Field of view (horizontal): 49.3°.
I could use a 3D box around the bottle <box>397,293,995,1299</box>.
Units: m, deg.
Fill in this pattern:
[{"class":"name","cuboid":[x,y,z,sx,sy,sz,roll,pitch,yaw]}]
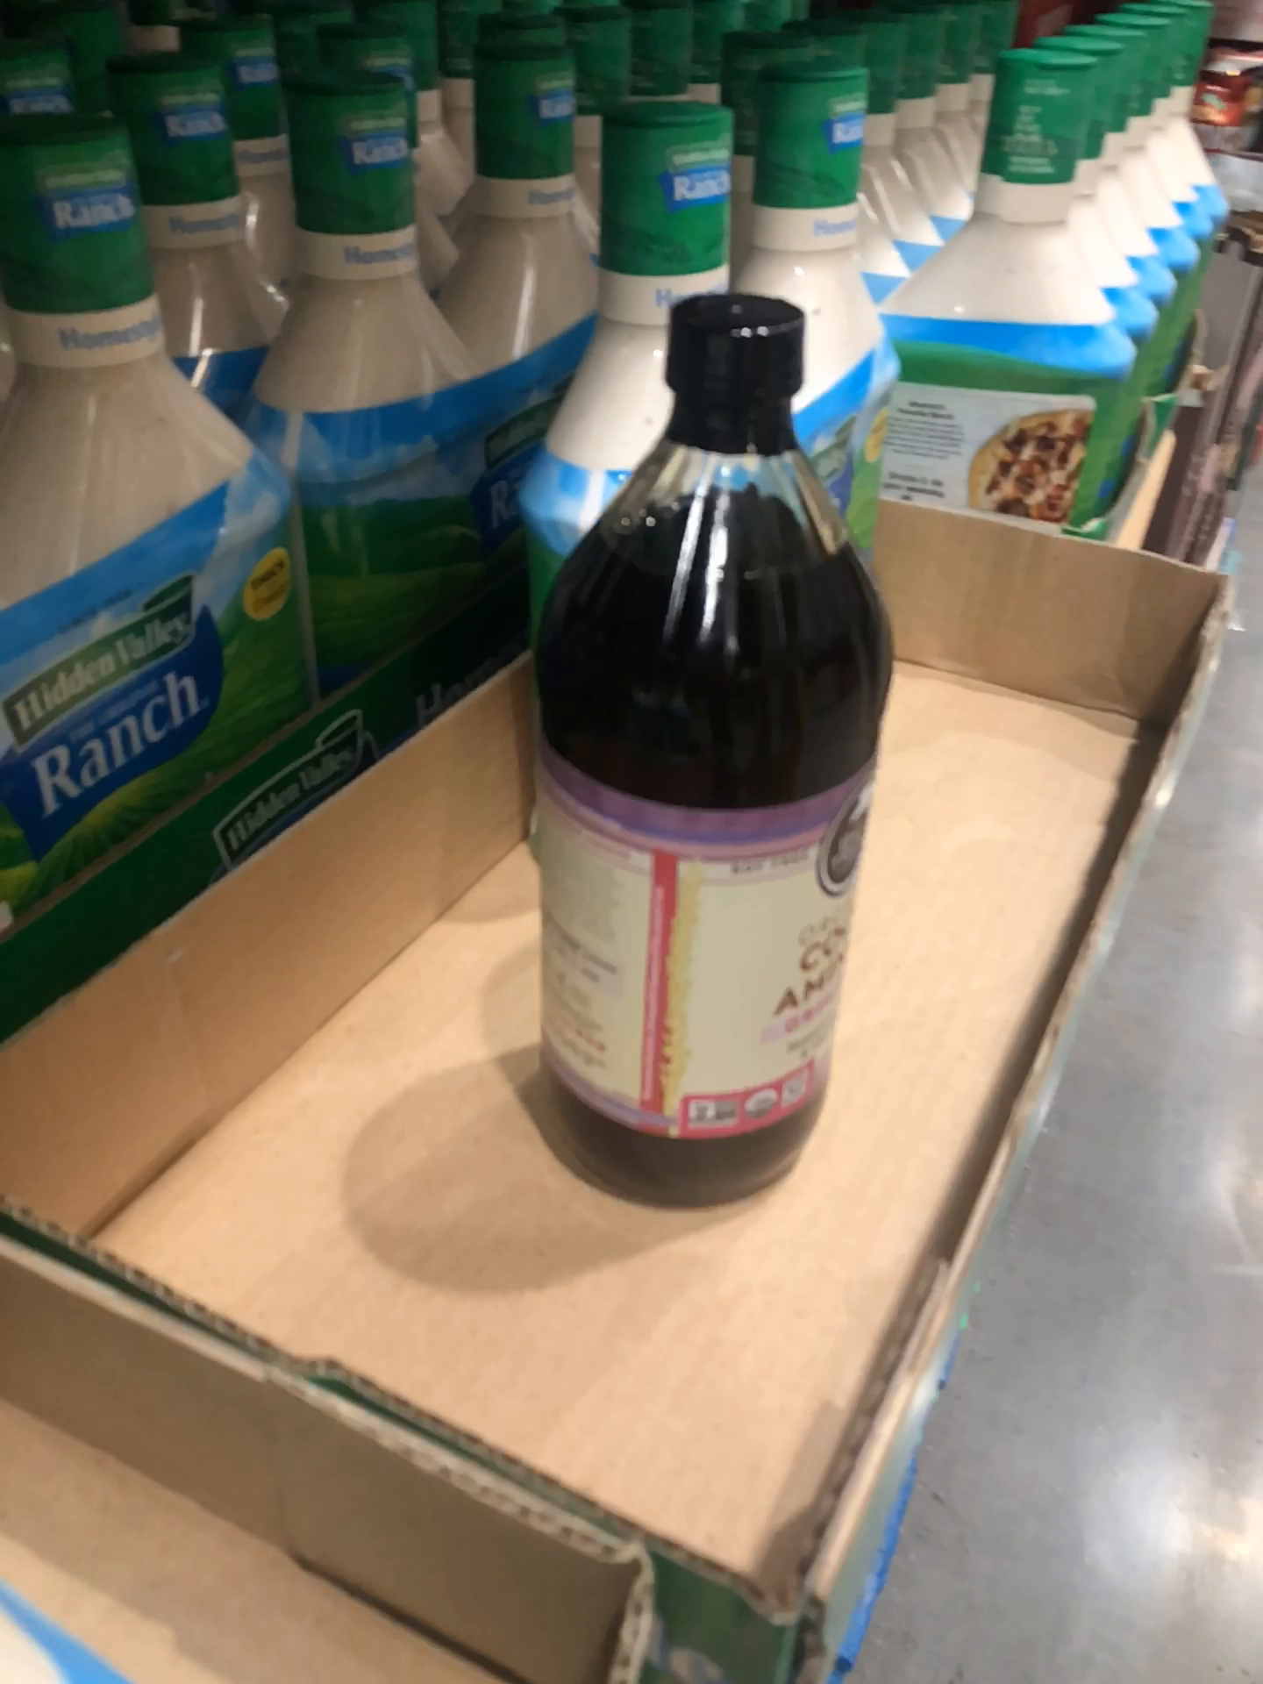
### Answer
[{"class":"bottle","cuboid":[0.015,-0.008,0.364,0.090,0.229,0.100,22,40,27]}]
